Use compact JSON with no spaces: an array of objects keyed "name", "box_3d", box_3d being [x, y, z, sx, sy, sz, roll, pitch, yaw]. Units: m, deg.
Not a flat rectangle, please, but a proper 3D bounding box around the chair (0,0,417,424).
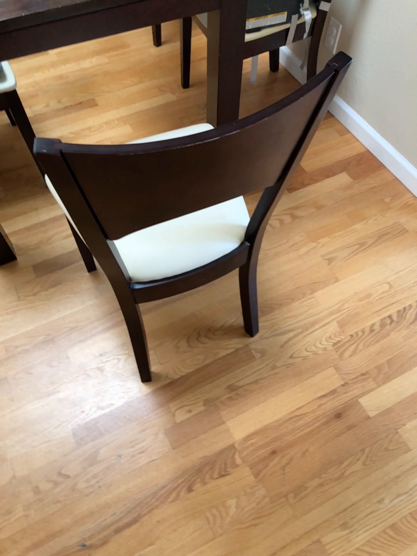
[{"name":"chair","box_3d":[-0.049,-0.160,1.149,0.560,0.996,0.592,-20,59,-13]}]
